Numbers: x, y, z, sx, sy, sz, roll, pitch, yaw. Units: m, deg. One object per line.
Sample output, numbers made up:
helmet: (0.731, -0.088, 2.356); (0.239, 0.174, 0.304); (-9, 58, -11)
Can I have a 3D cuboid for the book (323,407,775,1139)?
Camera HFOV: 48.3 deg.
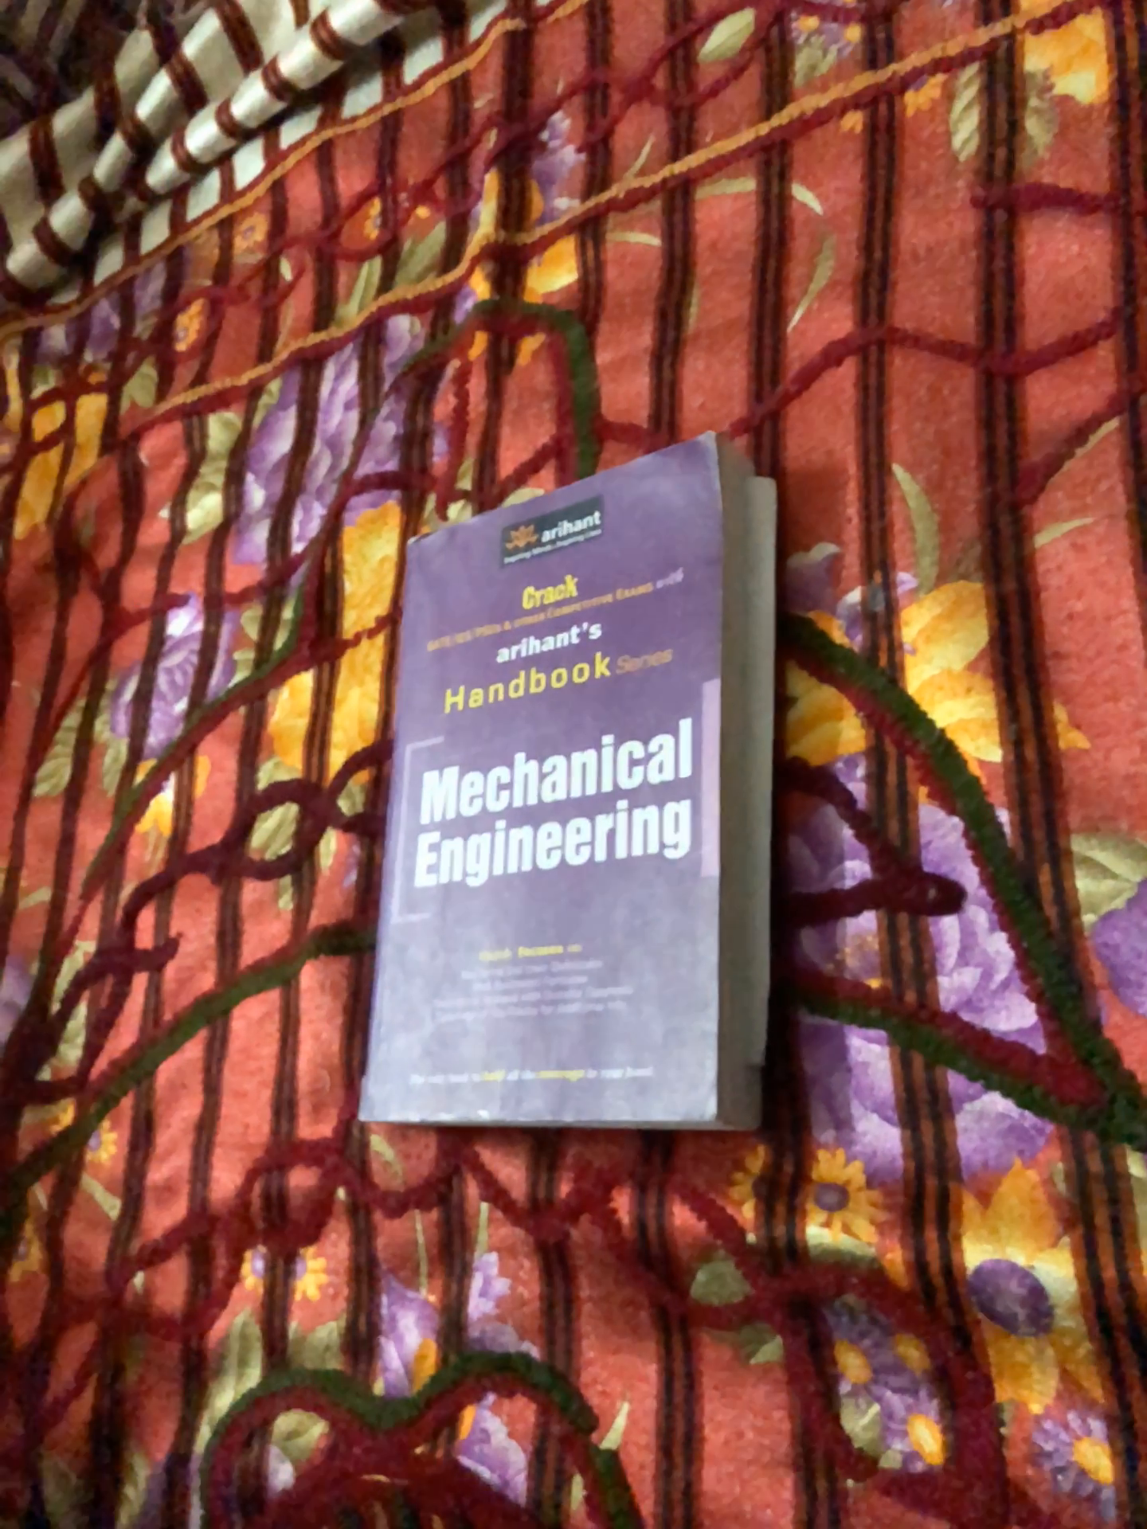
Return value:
book: (-0.008, 0.008, 0.443); (0.148, 0.040, 0.231); (-11, 67, 33)
